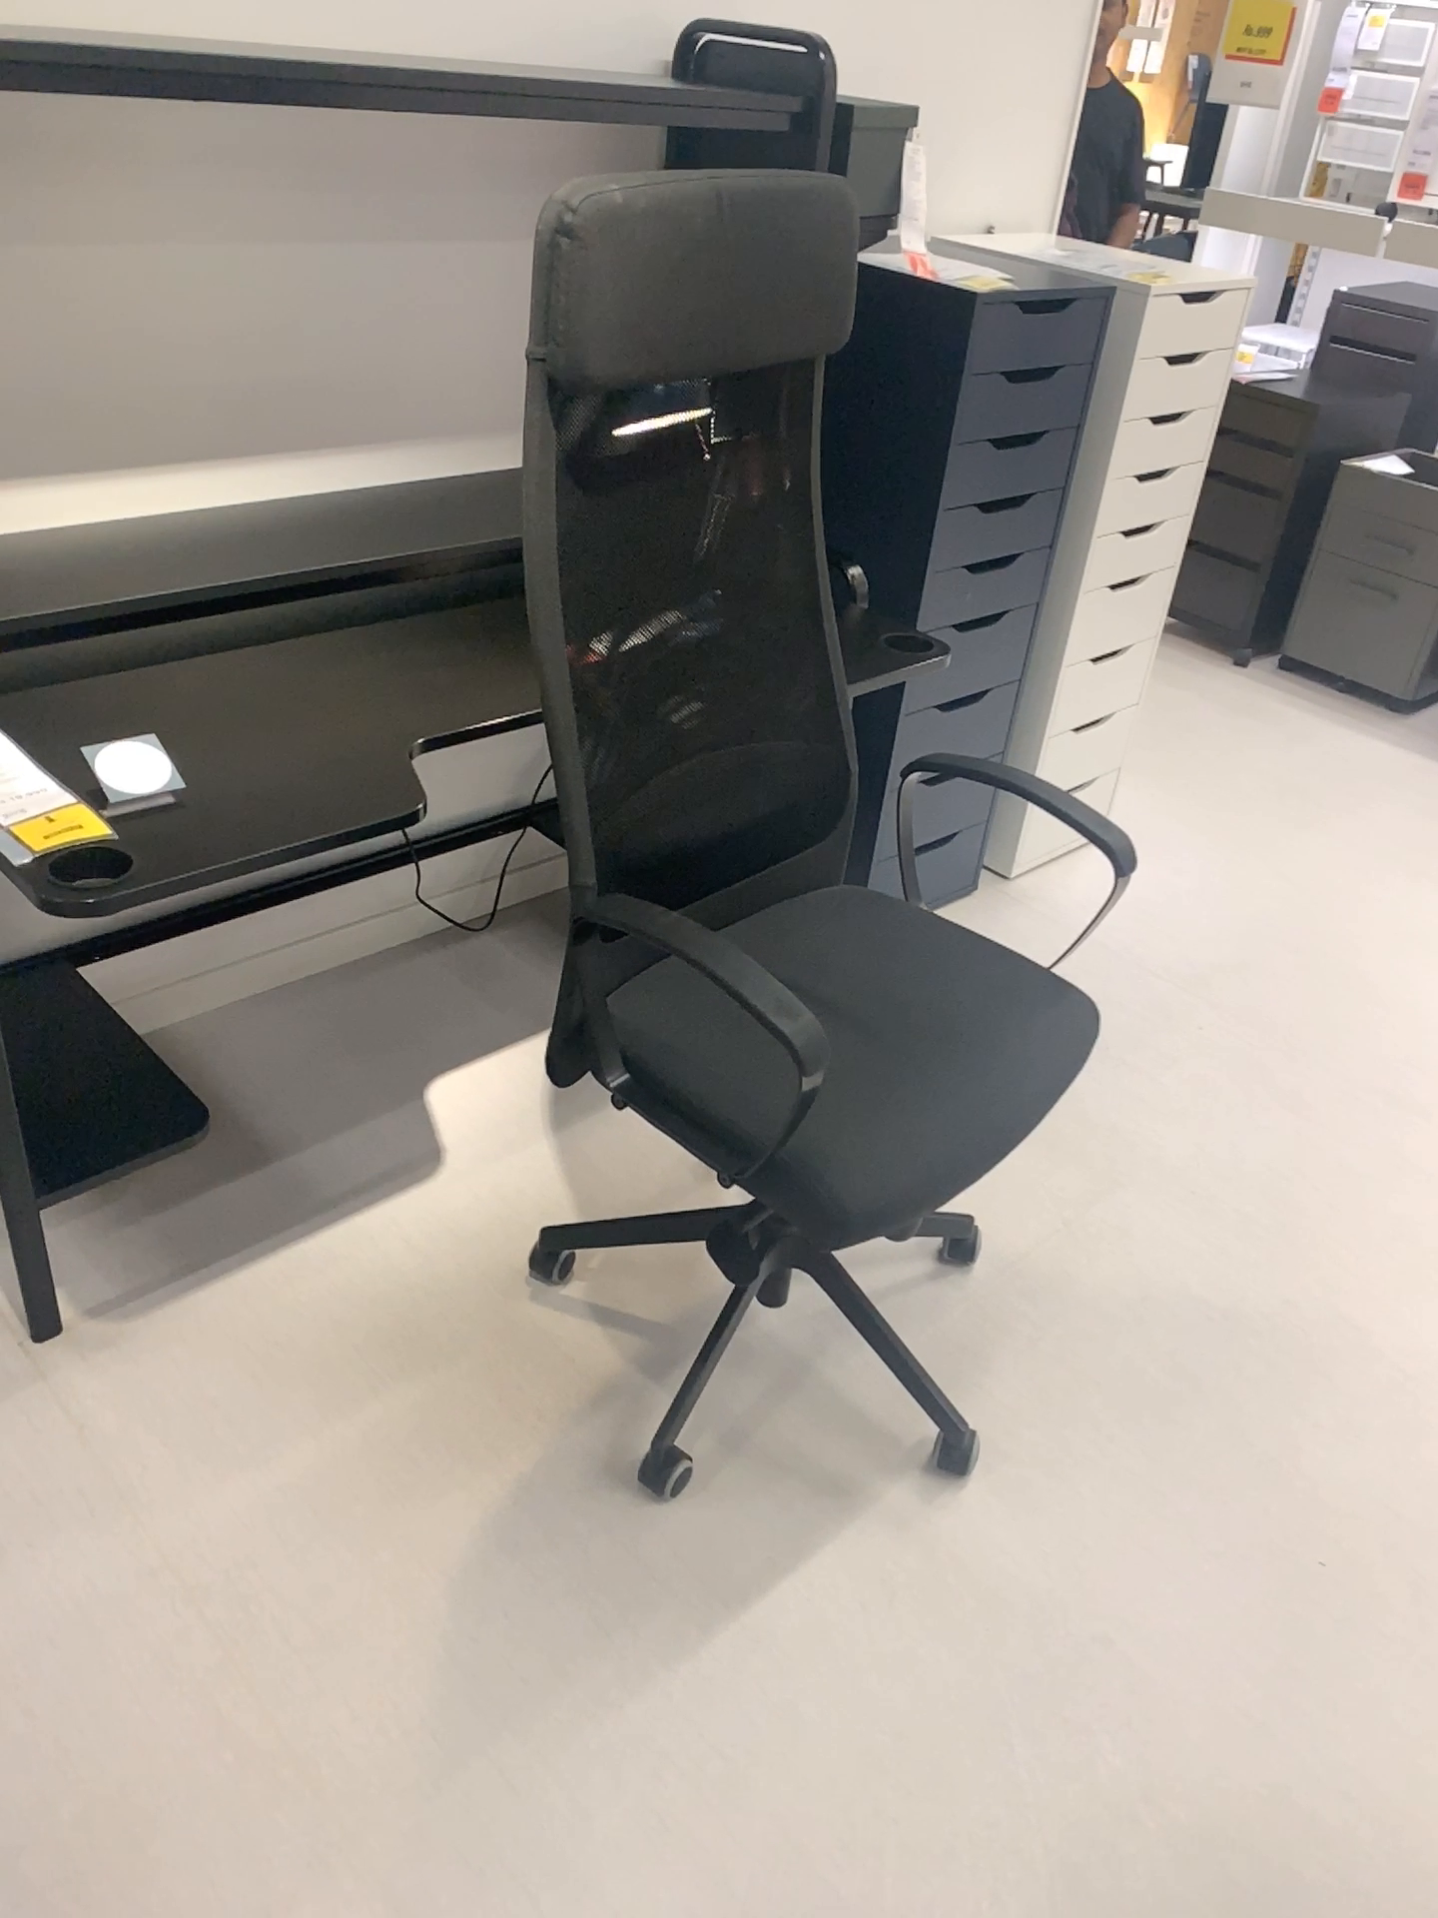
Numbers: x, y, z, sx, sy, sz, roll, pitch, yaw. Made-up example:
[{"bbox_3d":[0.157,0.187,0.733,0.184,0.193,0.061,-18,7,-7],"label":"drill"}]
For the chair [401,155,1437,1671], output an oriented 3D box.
[{"bbox_3d":[0.148,-0.079,1.531,0.711,1.245,0.642,29,37,32],"label":"chair"}]
